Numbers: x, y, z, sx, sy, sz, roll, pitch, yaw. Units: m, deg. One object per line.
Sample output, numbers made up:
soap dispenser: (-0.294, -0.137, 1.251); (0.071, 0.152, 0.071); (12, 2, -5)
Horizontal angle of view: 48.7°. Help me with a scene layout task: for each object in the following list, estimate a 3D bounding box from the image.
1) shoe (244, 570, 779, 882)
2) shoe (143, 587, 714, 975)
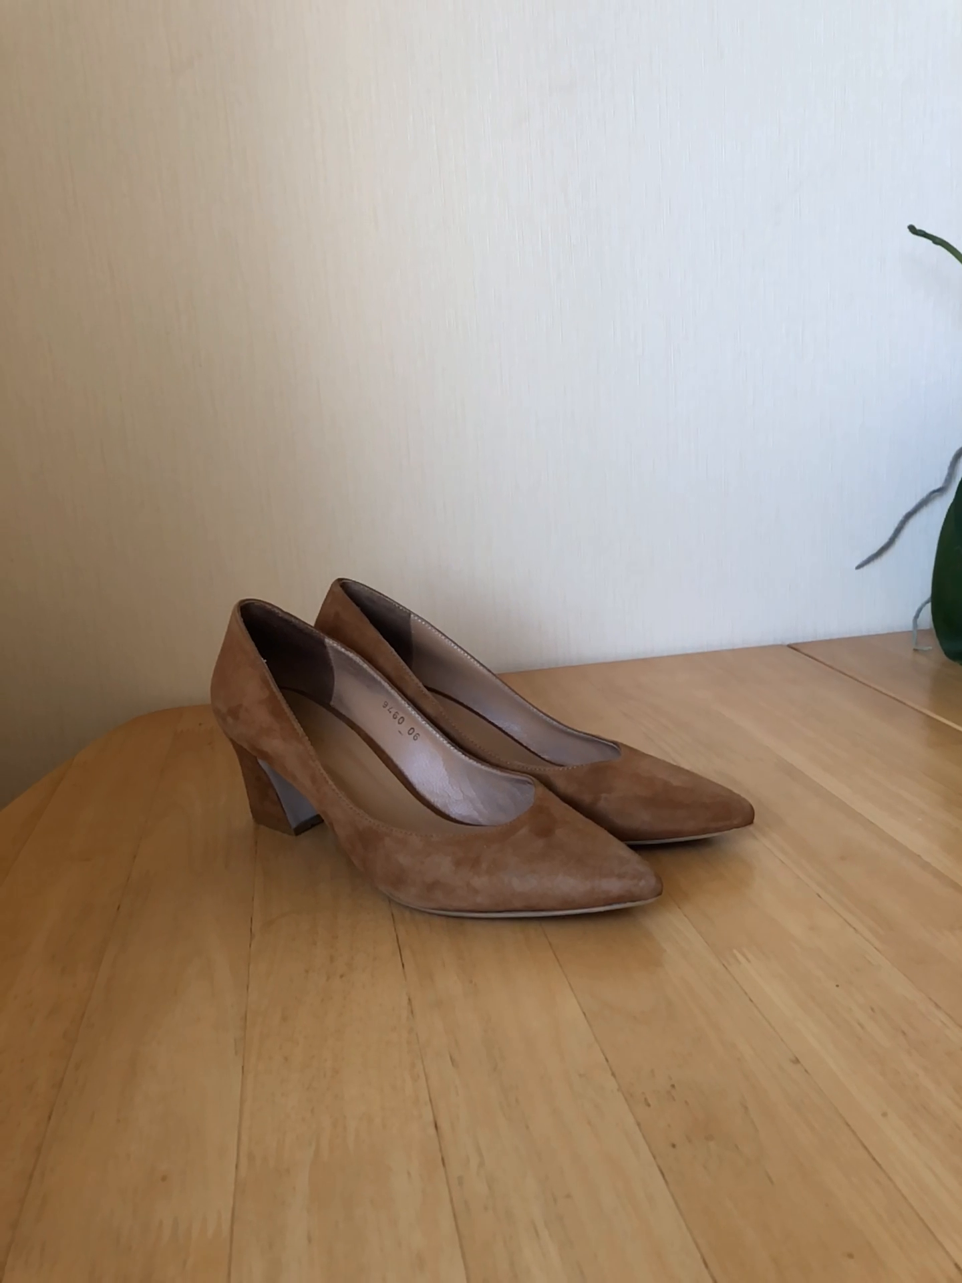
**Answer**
shoe: (0.011, 0.030, 0.550); (0.260, 0.110, 0.089); (5, 16, 31)
shoe: (-0.031, 0.046, 0.483); (0.250, 0.110, 0.089); (7, 17, 36)
